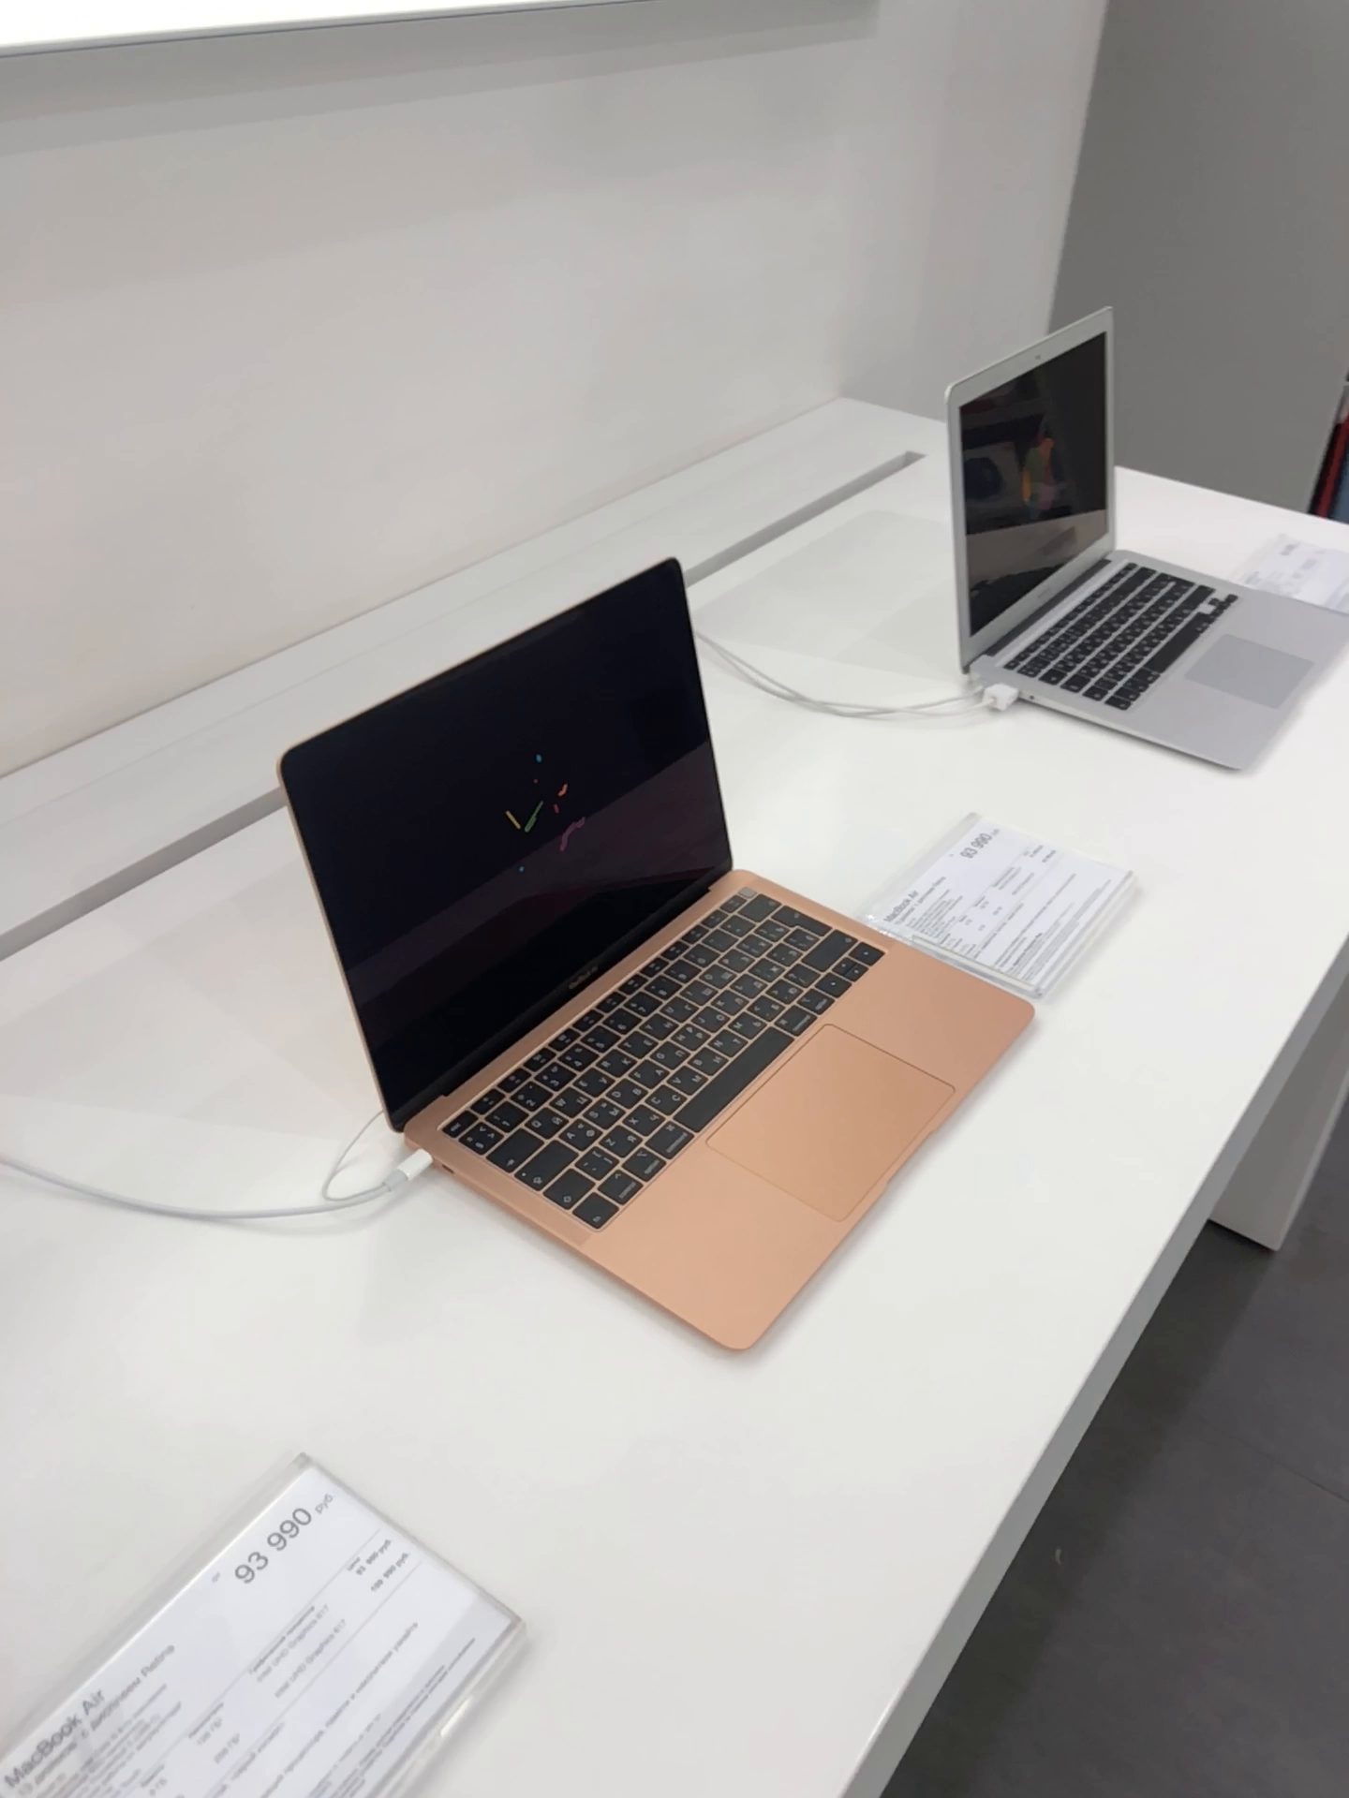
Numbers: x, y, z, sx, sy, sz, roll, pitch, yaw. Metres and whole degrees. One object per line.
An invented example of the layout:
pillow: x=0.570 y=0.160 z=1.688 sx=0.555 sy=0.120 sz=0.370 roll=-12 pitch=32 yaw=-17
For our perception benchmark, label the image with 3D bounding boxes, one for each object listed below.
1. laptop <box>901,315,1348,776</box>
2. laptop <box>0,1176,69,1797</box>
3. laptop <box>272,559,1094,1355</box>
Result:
laptop: x=0.400 y=-0.309 z=1.204 sx=0.283 sy=0.209 sz=0.364 roll=24 pitch=39 yaw=26
laptop: x=-0.345 y=0.280 z=0.314 sx=0.249 sy=0.204 sz=0.294 roll=26 pitch=41 yaw=28
laptop: x=0.011 y=0.000 z=0.742 sx=0.264 sy=0.188 sz=0.298 roll=26 pitch=41 yaw=27
